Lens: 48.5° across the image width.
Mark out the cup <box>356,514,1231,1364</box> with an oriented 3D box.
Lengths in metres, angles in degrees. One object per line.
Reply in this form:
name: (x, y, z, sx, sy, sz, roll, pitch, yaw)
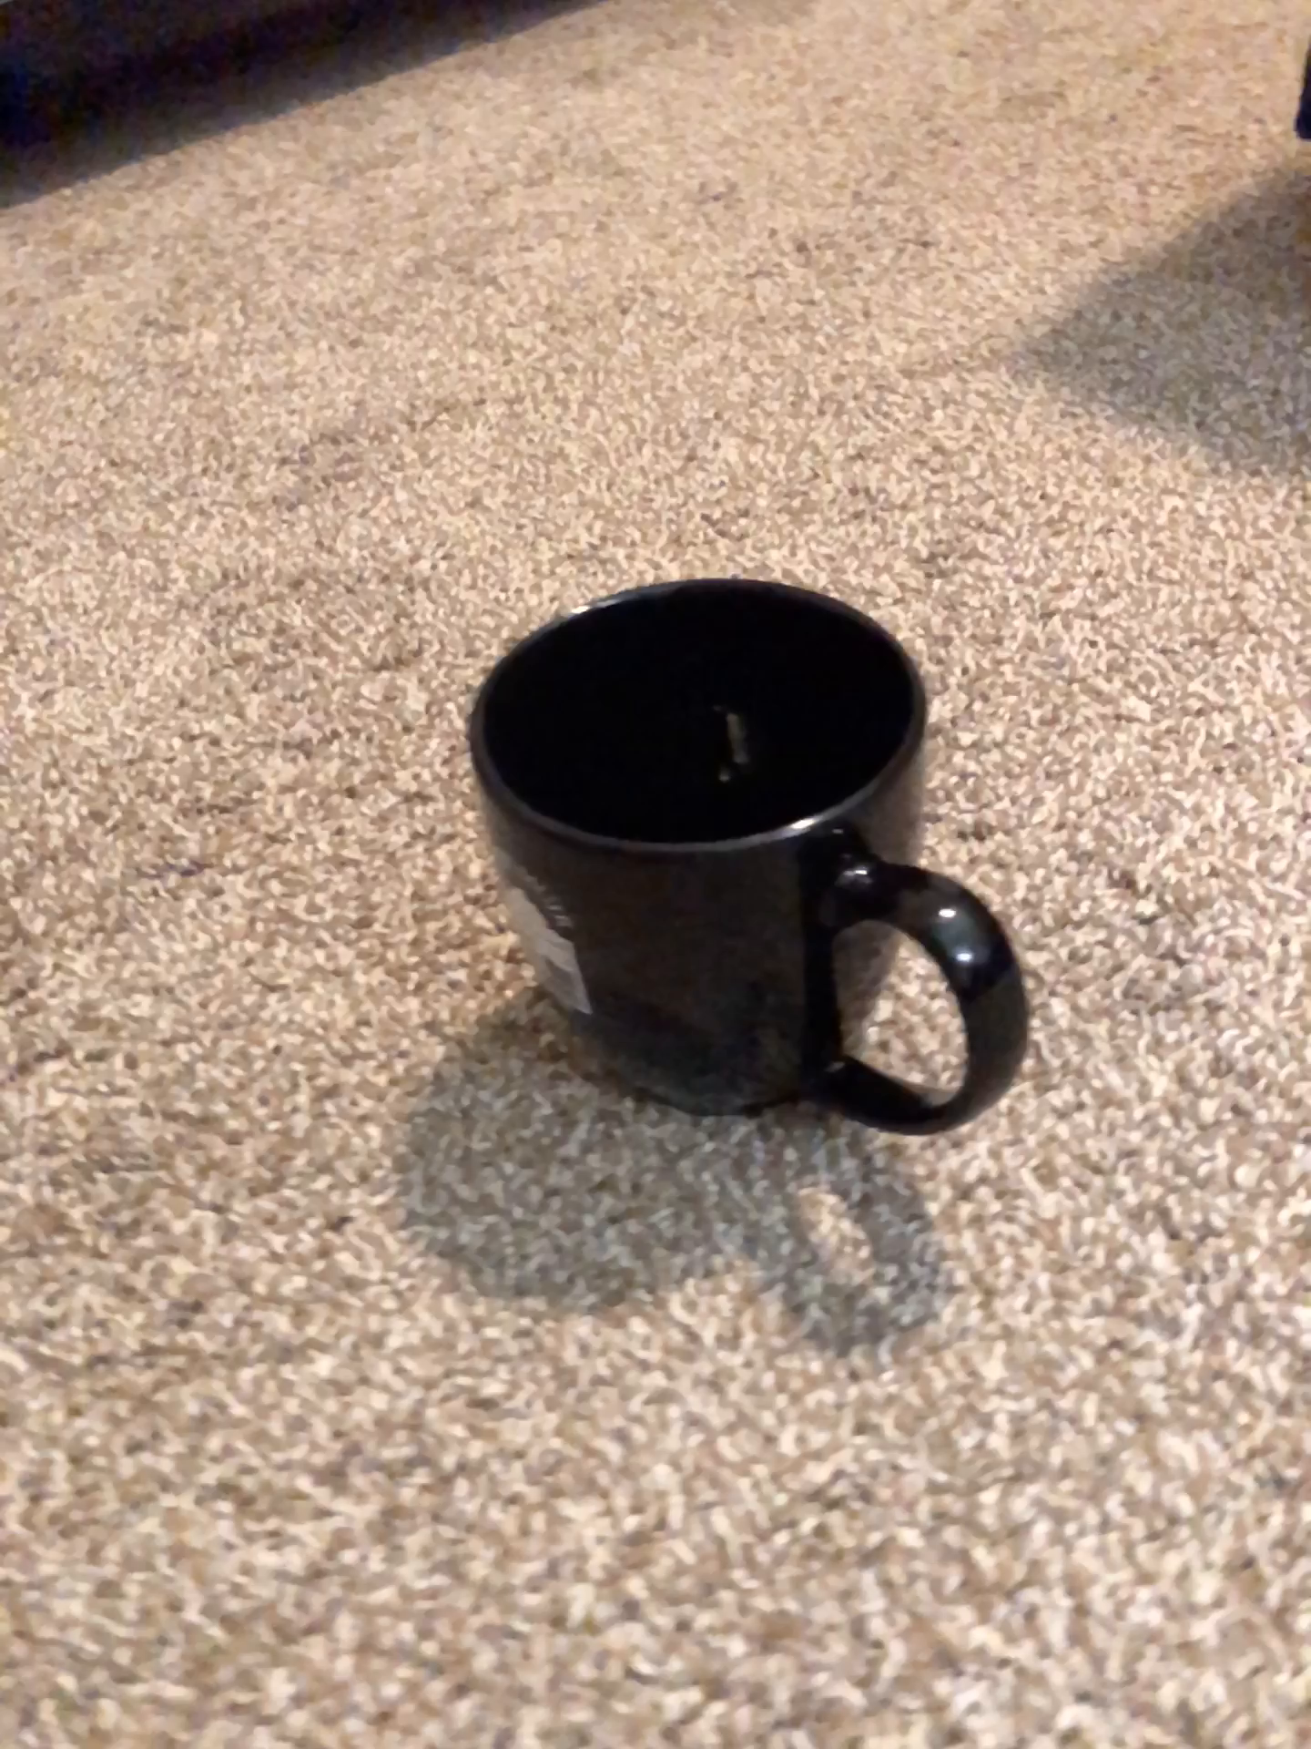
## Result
cup: (0.025, 0.003, 0.300, 0.090, 0.090, 0.140, -35, 45, -25)
